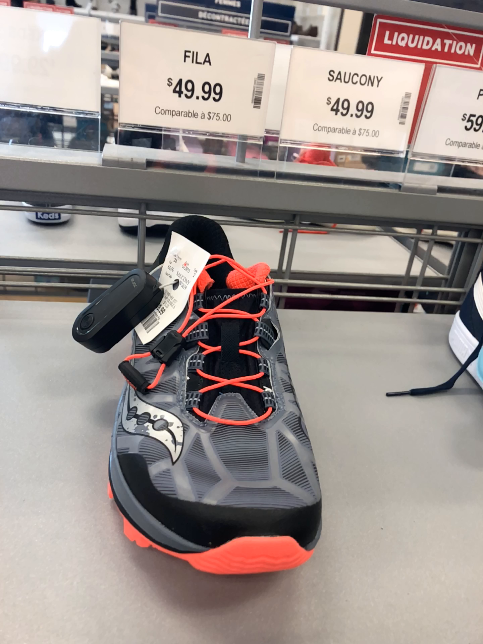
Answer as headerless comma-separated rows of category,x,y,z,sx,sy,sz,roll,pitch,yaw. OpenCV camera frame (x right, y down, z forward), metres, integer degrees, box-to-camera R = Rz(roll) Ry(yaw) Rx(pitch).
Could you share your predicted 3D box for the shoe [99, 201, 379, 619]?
shoe,-0.033,0.018,0.355,0.110,0.109,0.292,1,28,-13
